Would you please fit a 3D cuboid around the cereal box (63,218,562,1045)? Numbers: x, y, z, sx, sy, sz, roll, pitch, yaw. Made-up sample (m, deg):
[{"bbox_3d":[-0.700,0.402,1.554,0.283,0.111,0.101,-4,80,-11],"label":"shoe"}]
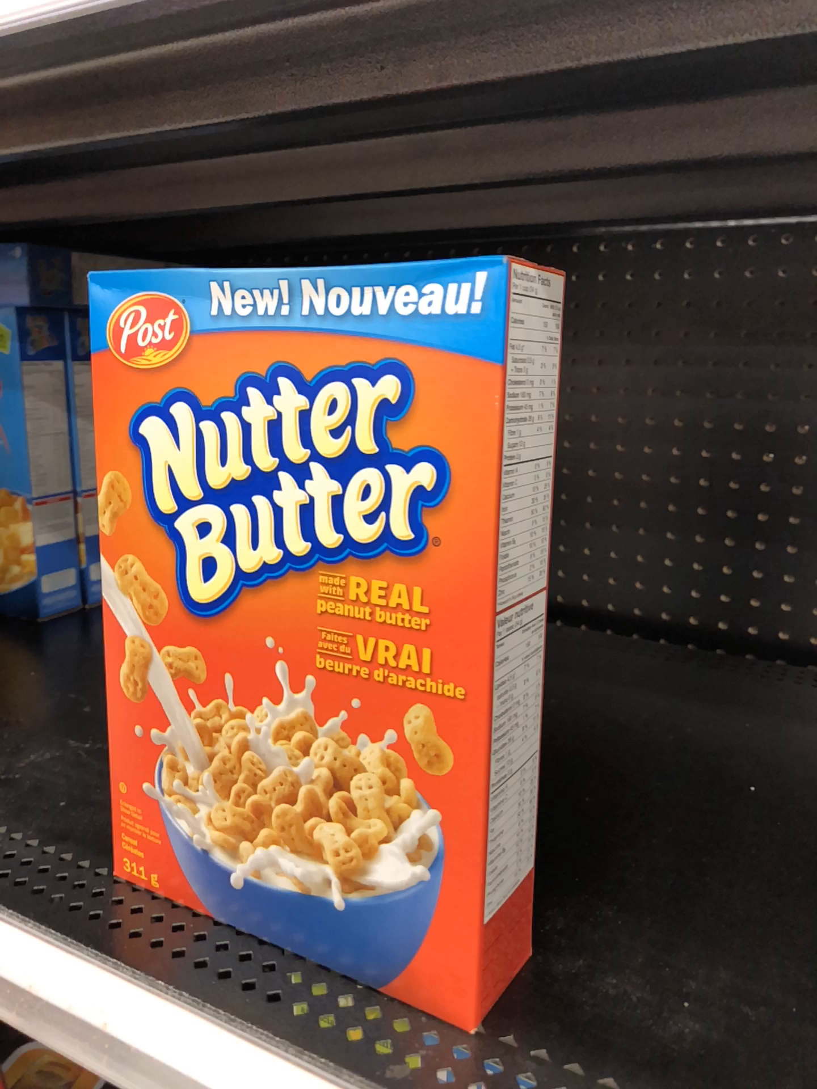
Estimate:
[{"bbox_3d":[-0.044,0.024,0.367,0.190,0.279,0.060,7,13,31],"label":"cereal box"}]
